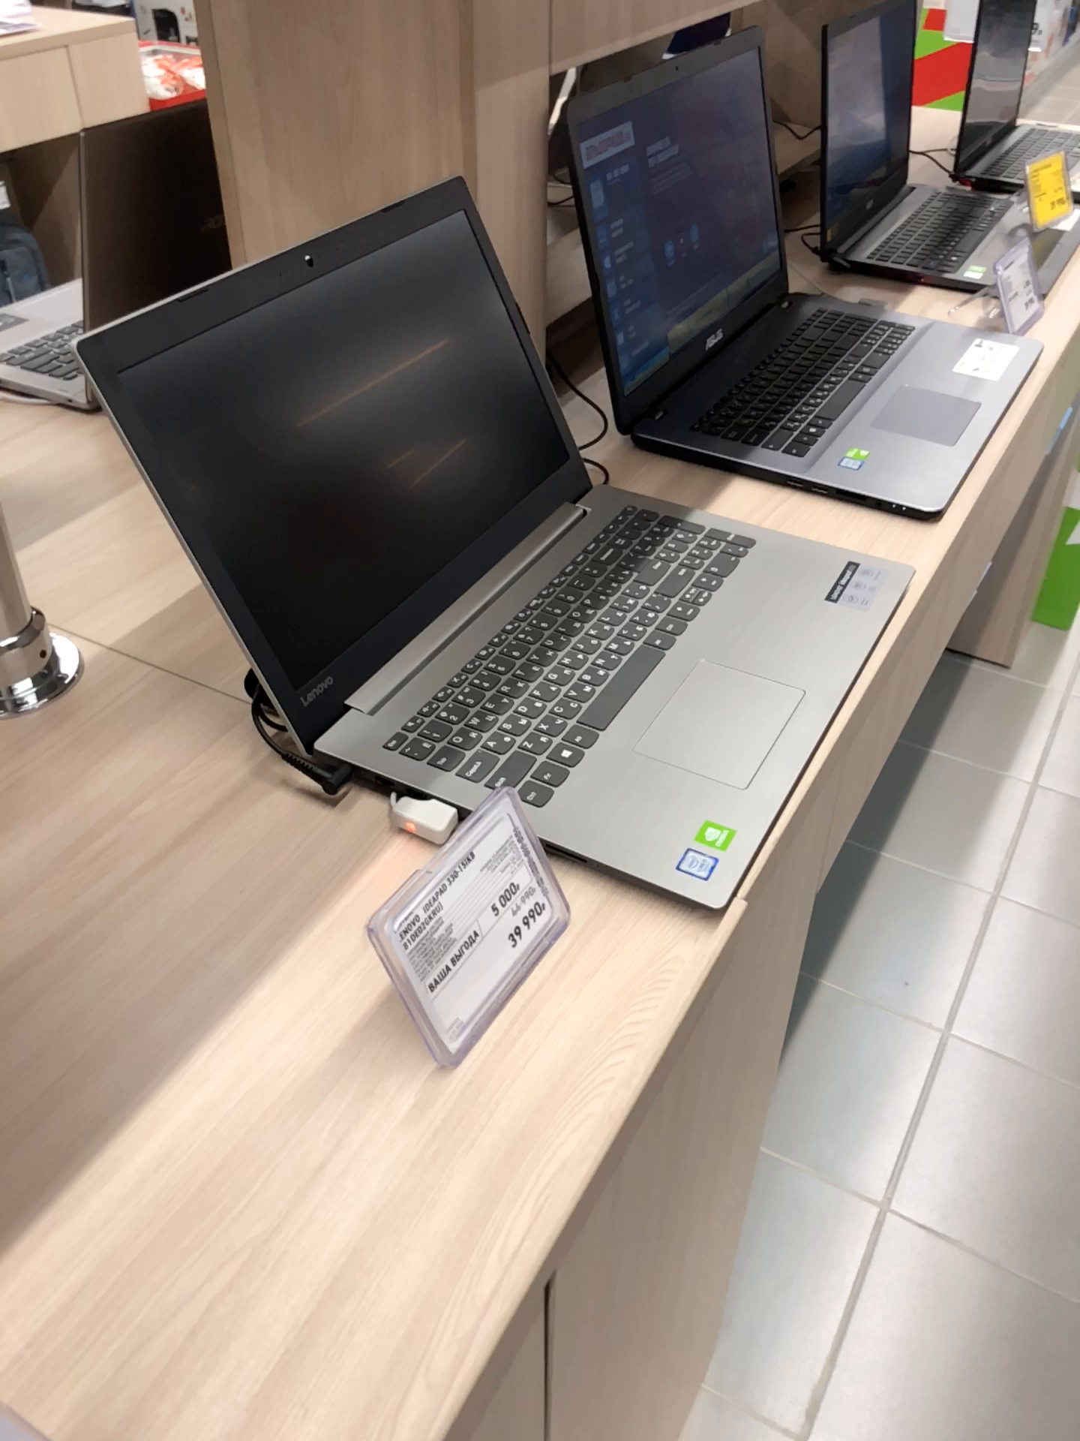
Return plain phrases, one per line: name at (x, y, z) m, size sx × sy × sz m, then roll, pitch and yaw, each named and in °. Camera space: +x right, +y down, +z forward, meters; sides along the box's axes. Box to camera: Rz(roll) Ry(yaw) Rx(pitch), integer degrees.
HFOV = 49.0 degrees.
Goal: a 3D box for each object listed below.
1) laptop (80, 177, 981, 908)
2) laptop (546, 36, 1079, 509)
laptop at (0.017, -0.148, 0.716) m, size 0.366 × 0.207 × 0.372 m, roll 19°, pitch 42°, yaw 21°
laptop at (0.256, -0.419, 1.046) m, size 0.334 × 0.246 × 0.404 m, roll 19°, pitch 42°, yaw 21°
